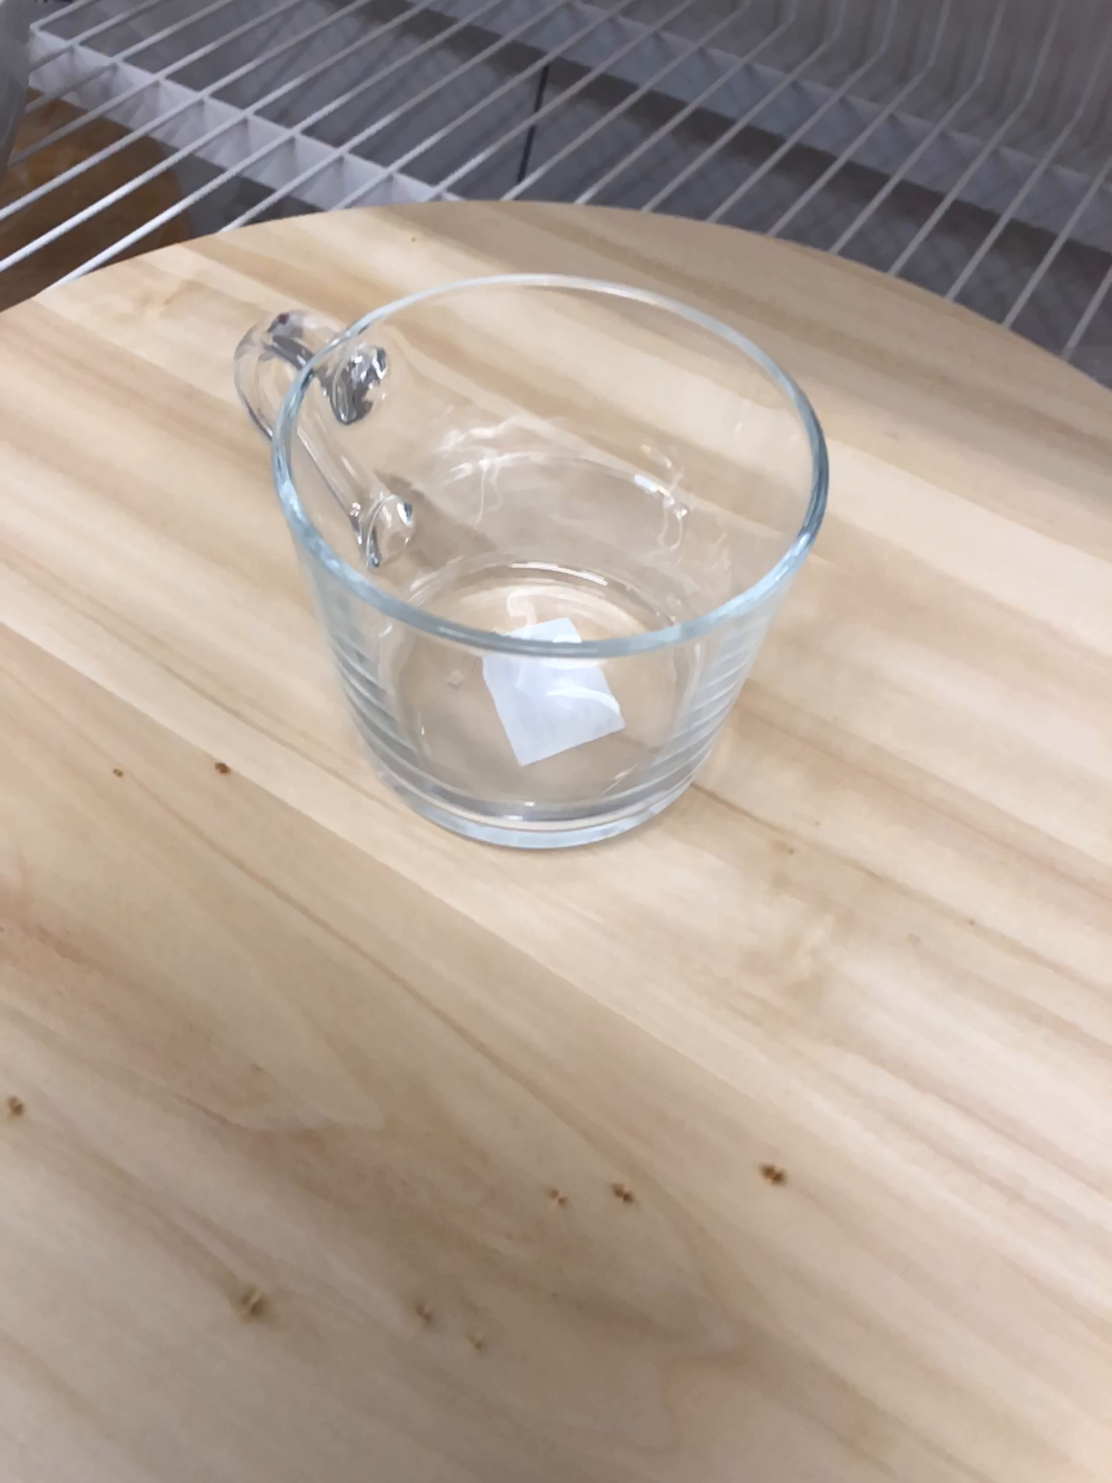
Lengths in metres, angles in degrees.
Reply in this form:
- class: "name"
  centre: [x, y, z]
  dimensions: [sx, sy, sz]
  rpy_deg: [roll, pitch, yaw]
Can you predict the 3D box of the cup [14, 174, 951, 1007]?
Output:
- class: "cup"
  centre: [-0.013, -0.034, 0.222]
  dimensions: [0.120, 0.060, 0.090]
  rpy_deg: [36, 57, 21]
